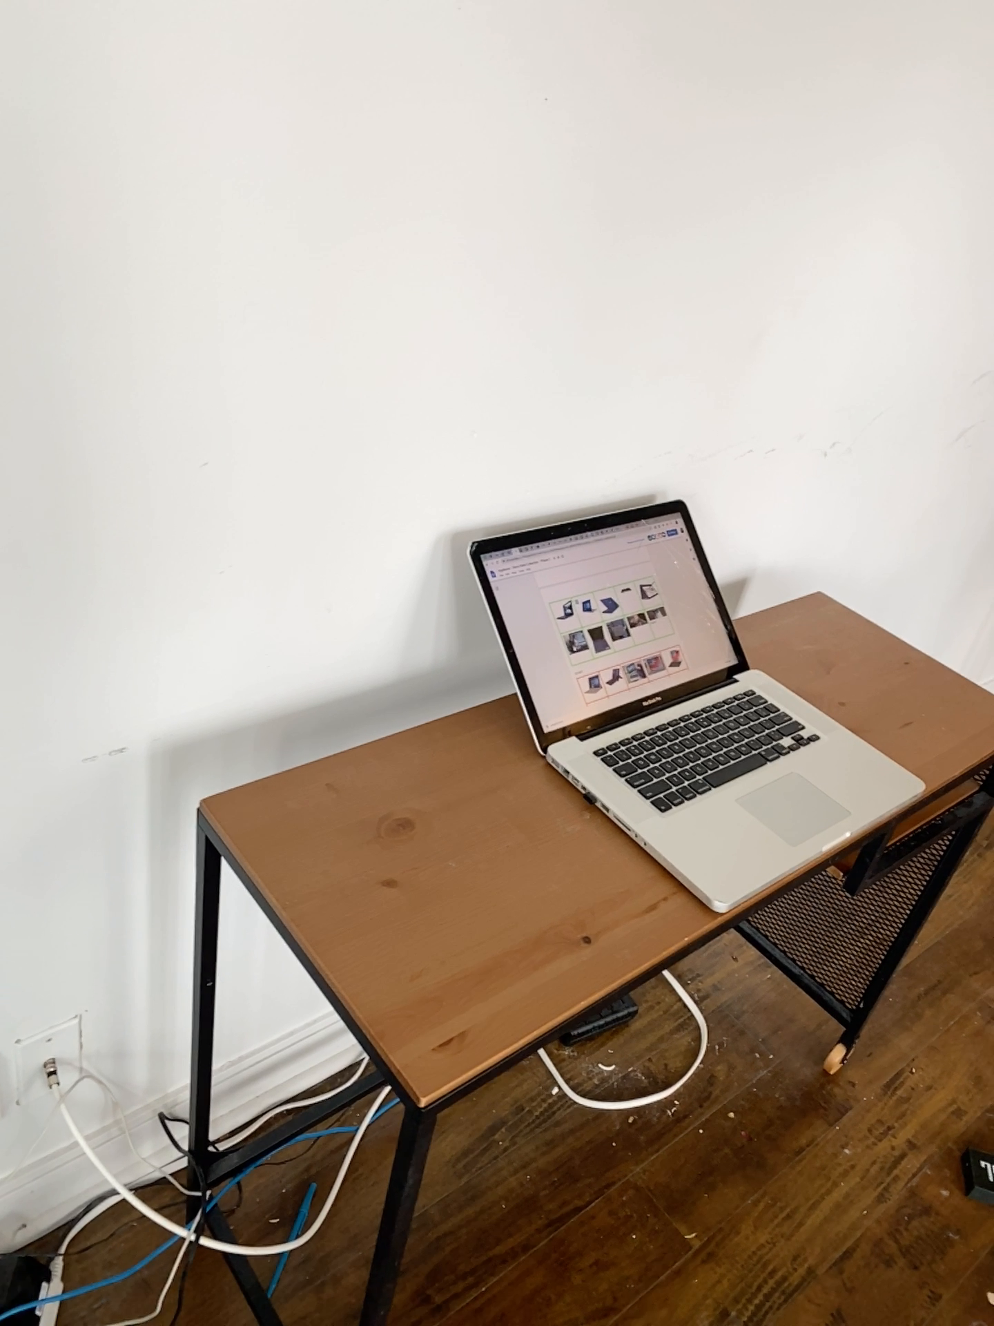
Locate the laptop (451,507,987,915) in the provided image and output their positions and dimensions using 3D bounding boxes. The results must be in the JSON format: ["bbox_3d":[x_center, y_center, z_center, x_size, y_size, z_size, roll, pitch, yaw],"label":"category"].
[{"bbox_3d":[0.233,0.013,1.132,0.368,0.151,0.440,-16,42,-37],"label":"laptop"}]
